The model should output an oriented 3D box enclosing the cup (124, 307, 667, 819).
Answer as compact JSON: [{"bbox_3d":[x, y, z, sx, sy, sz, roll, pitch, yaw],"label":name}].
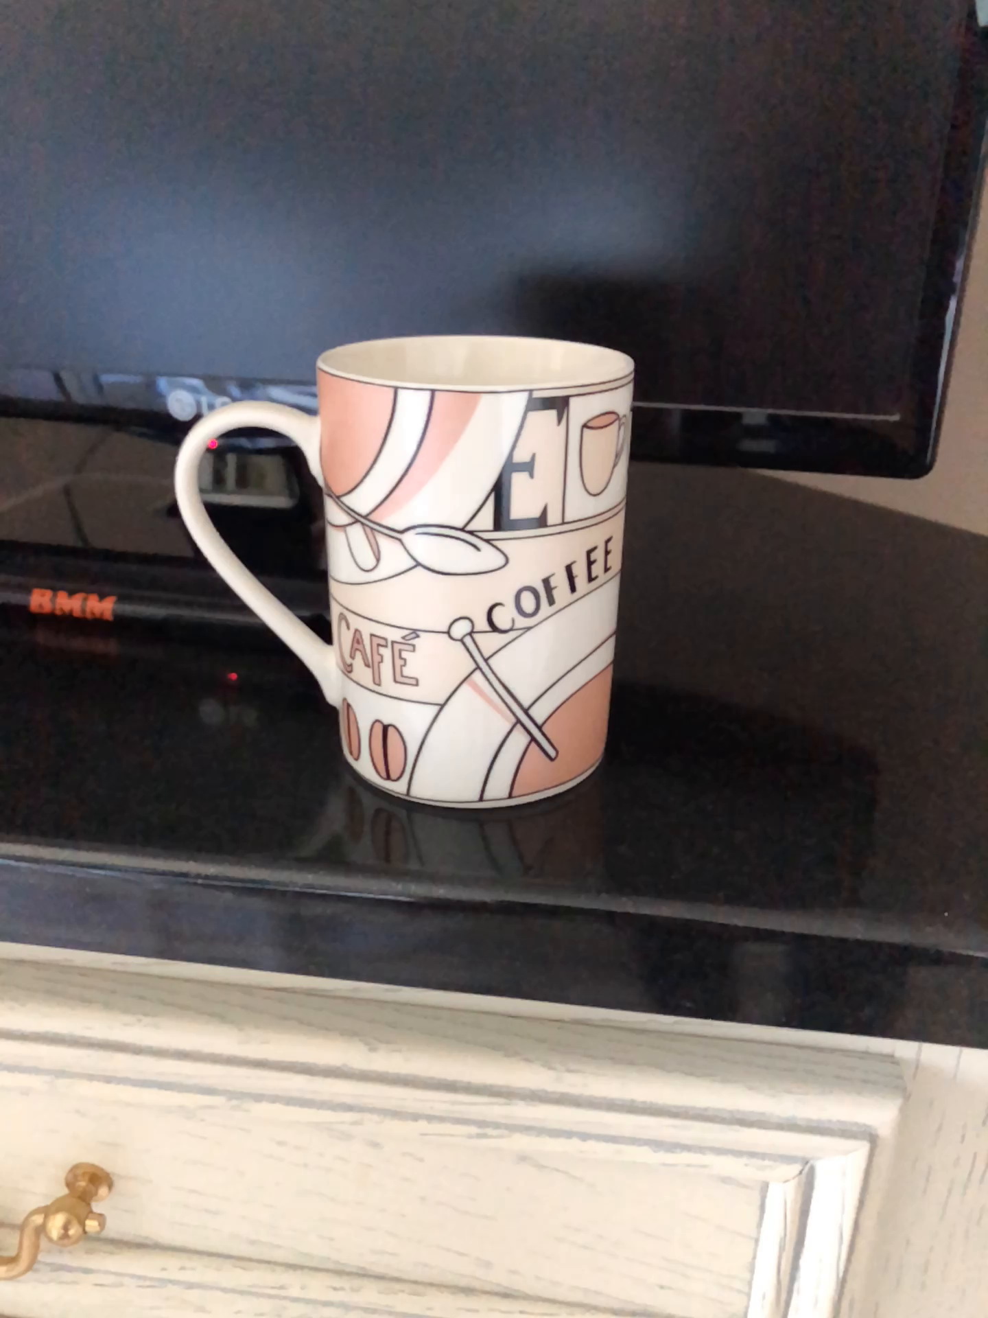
[{"bbox_3d":[-0.020,-0.026,0.277,0.110,0.109,0.070,1,24,0],"label":"cup"}]
